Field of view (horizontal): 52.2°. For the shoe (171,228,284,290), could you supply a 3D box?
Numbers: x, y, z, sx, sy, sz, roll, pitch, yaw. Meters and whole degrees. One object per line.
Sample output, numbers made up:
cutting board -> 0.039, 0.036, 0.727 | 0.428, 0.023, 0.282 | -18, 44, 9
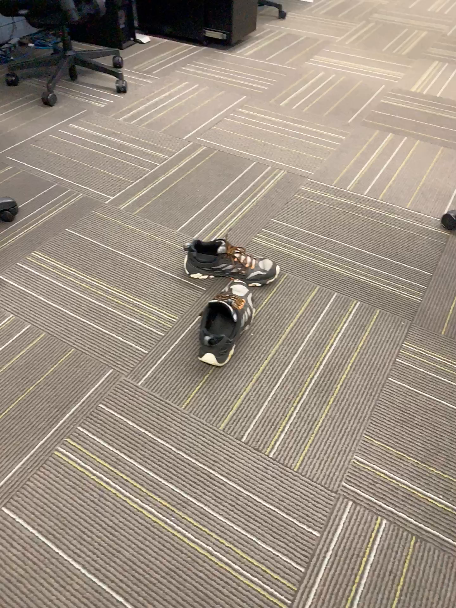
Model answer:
shoe -> 0.001, -0.154, 1.561 | 0.350, 0.089, 0.151 | 8, 46, 7

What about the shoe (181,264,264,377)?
shoe -> -0.008, 0.039, 1.413 | 0.150, 0.089, 0.352 | 13, 47, 11
